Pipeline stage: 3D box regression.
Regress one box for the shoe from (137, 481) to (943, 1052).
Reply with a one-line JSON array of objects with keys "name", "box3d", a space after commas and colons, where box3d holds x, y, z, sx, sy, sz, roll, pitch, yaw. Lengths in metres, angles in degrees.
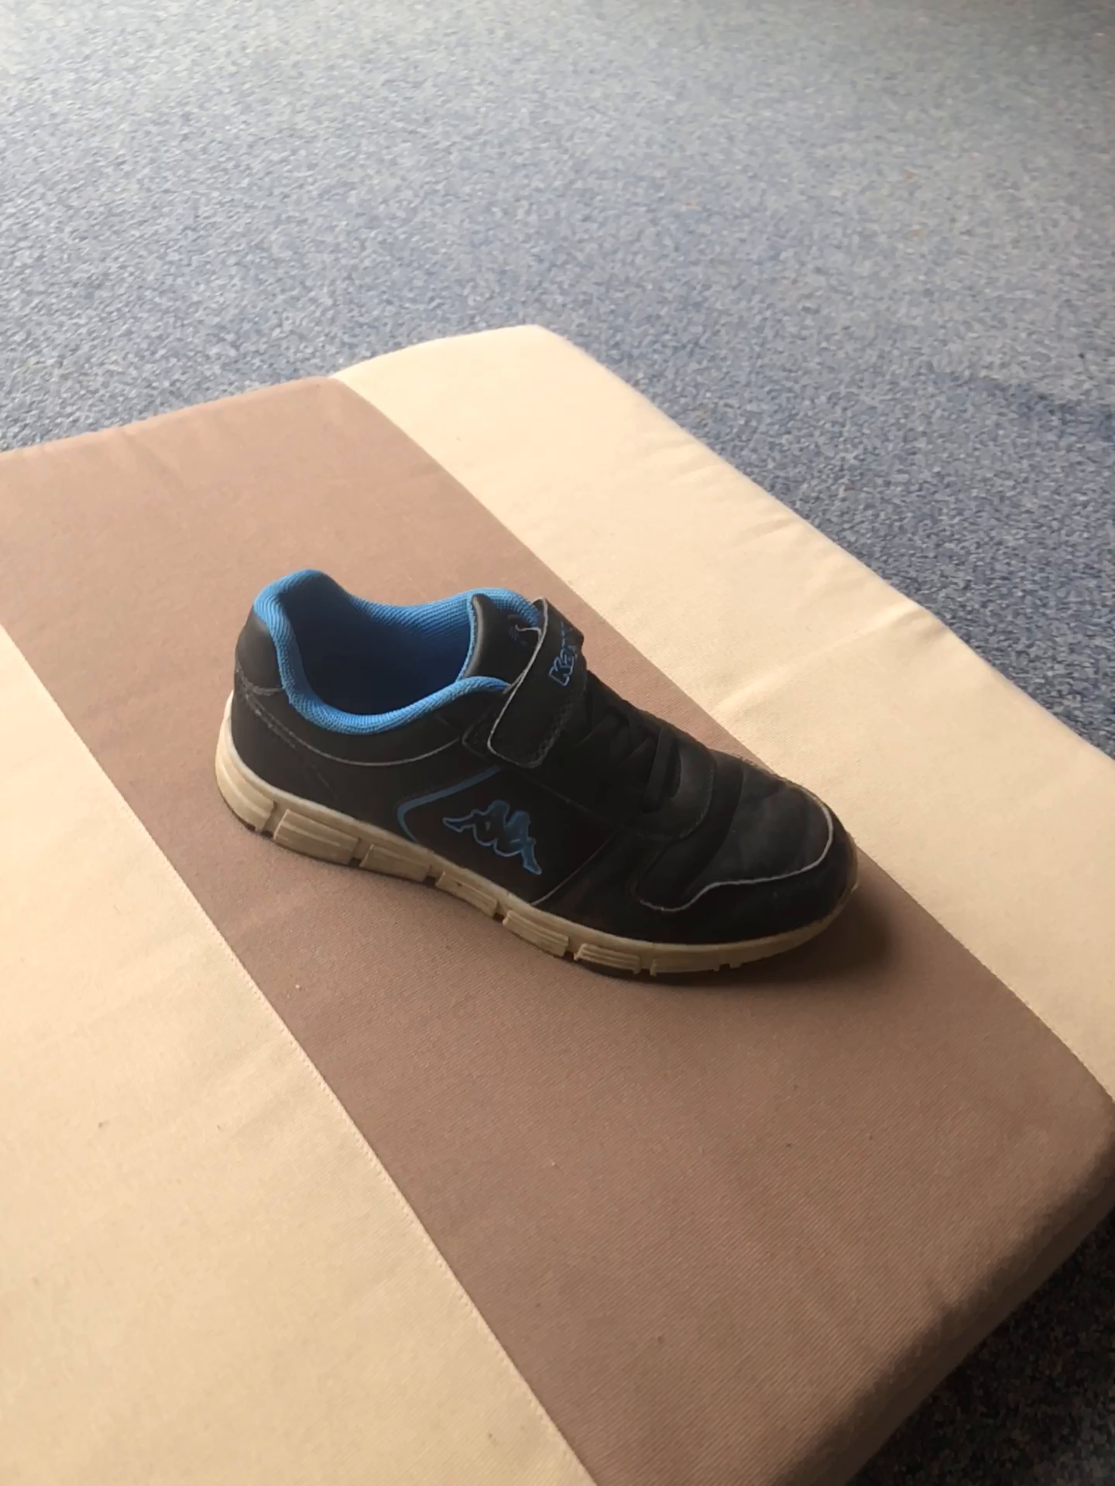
[{"name": "shoe", "box3d": [-0.003, 0.006, 0.420, 0.240, 0.089, 0.101, 16, 46, 3]}]
